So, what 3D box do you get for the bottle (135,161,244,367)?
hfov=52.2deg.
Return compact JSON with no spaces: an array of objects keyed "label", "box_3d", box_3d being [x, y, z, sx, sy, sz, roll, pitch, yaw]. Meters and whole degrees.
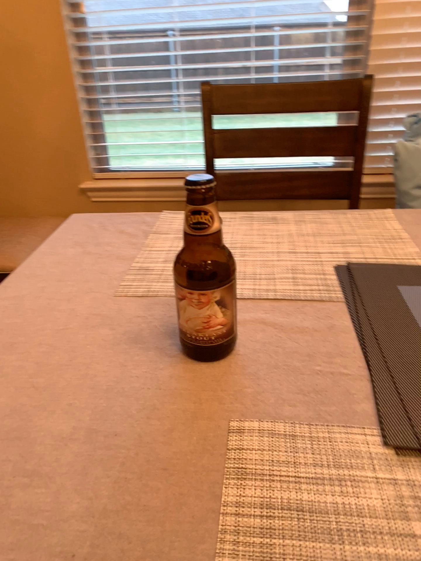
[{"label":"bottle","box_3d":[-0.012,-0.017,0.438,0.080,0.189,0.080,-2,28,1]}]
